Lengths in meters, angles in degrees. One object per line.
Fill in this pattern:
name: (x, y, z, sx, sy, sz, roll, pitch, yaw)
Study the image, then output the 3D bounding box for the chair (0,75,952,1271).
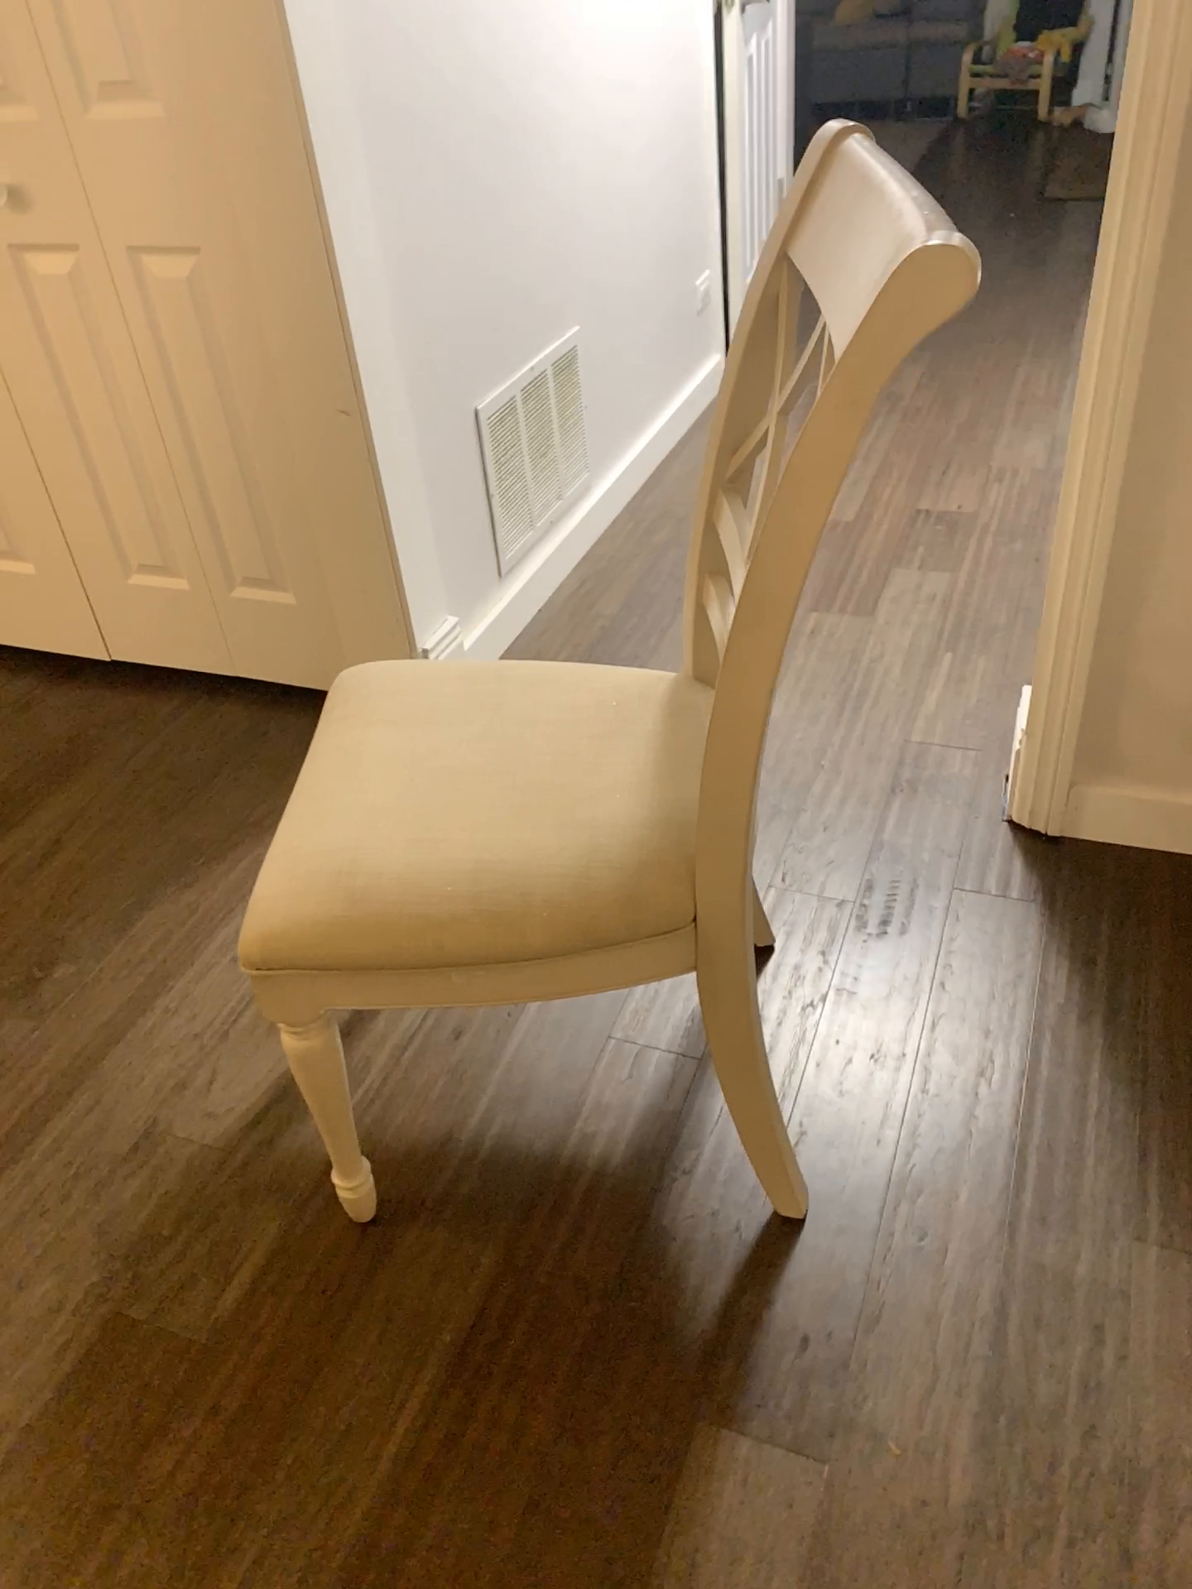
chair: (-0.060, -0.080, 1.213, 0.610, 0.994, 0.584, -3, 37, 4)
